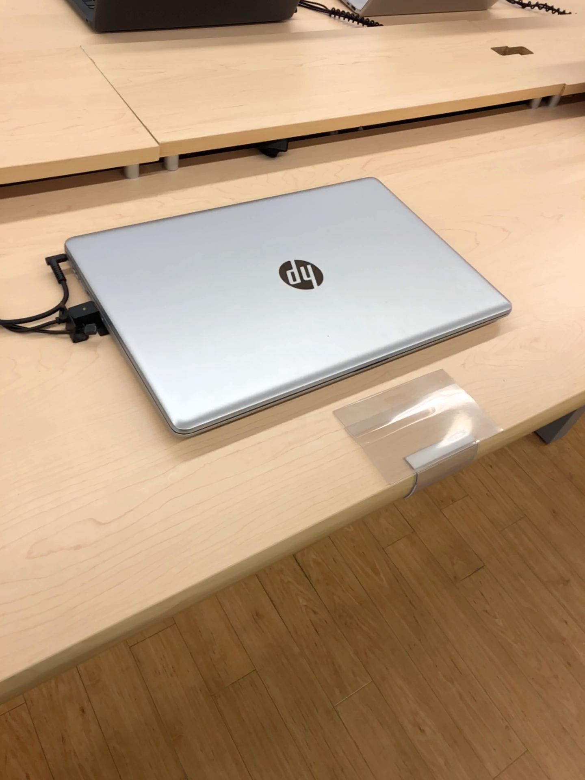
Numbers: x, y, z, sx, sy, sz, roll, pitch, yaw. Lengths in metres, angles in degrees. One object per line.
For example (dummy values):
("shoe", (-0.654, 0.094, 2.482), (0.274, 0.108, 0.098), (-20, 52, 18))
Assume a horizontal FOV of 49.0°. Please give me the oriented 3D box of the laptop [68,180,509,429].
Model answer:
("laptop", (0.006, -0.120, 0.681), (0.398, 0.001, 0.258), (-20, 57, -27))
